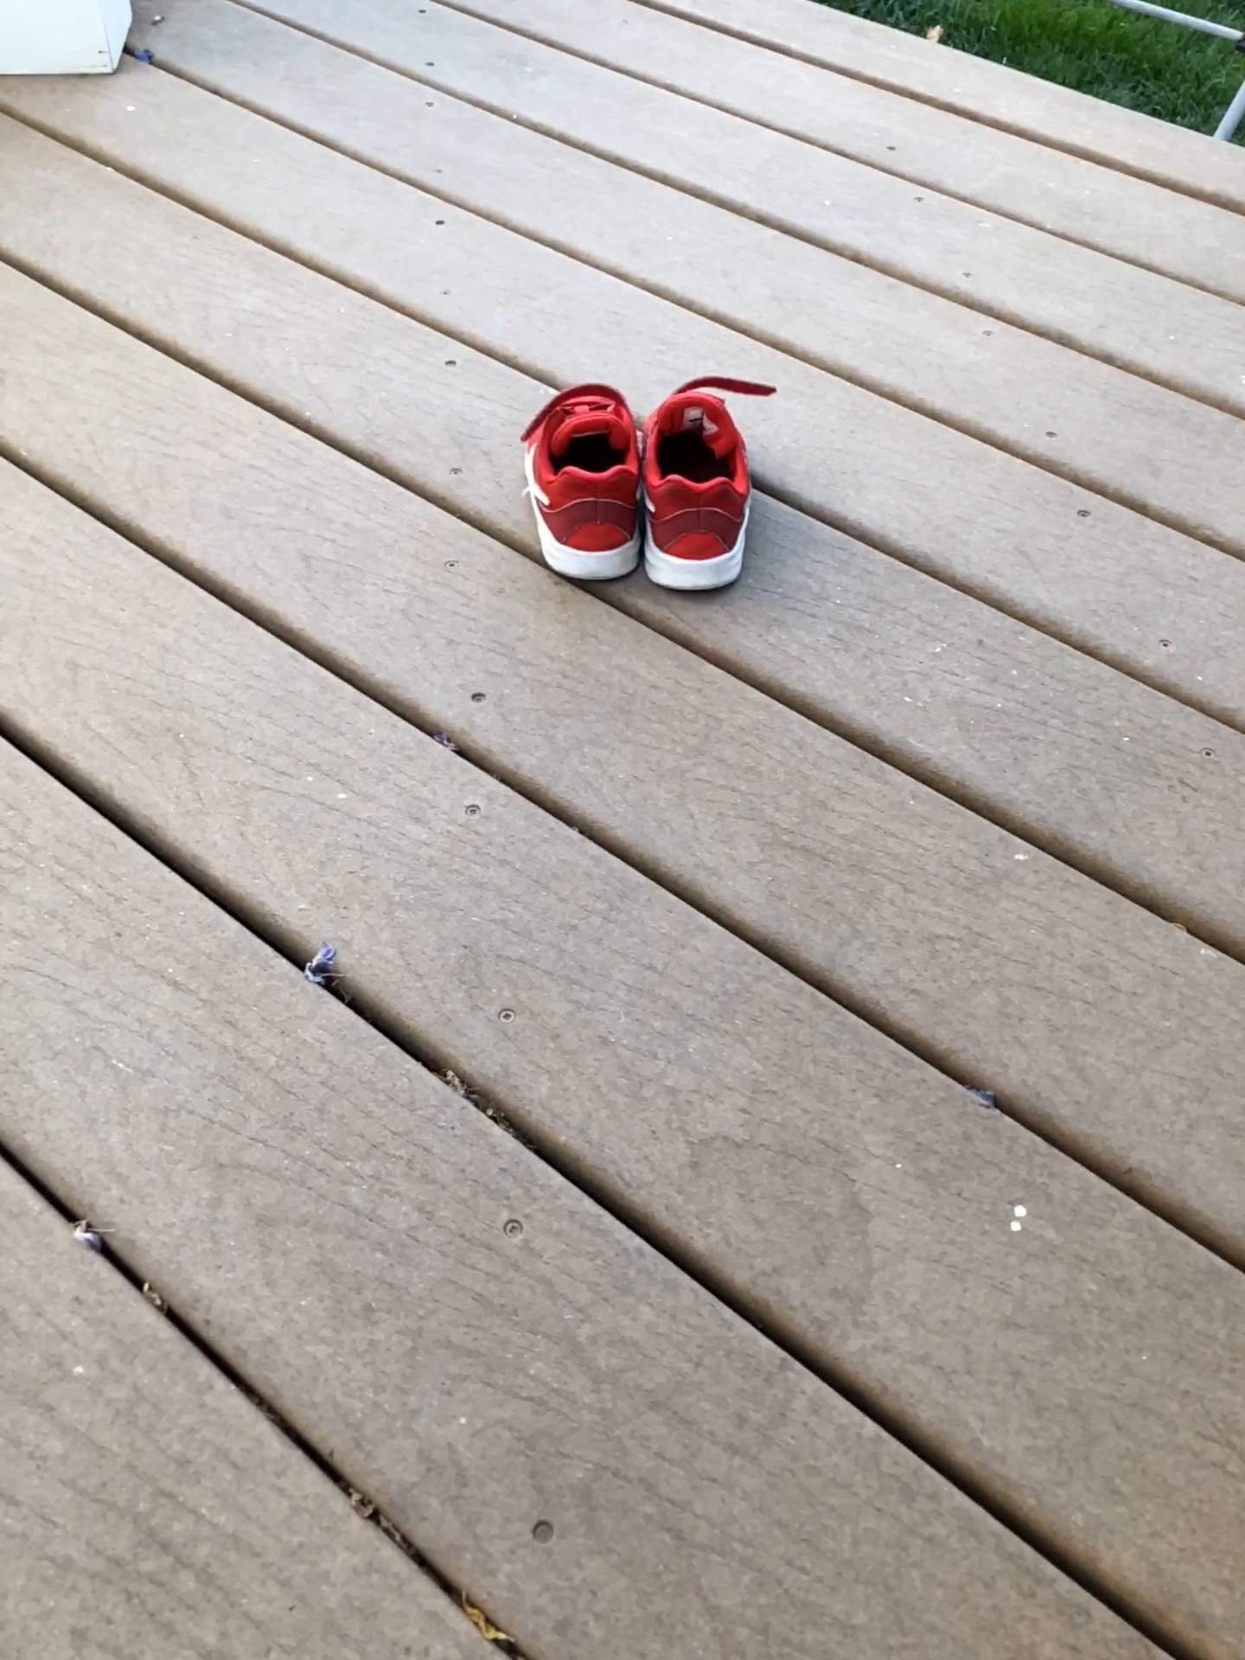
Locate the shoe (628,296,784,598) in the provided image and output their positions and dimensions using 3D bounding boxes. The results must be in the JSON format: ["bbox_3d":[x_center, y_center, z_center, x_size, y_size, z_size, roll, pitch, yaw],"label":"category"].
[{"bbox_3d":[0.046,-0.226,0.799,0.077,0.087,0.168,3,50,-1],"label":"shoe"}]

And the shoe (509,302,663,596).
[{"bbox_3d":[-0.025,-0.228,0.806,0.077,0.087,0.168,-2,50,-5],"label":"shoe"}]
